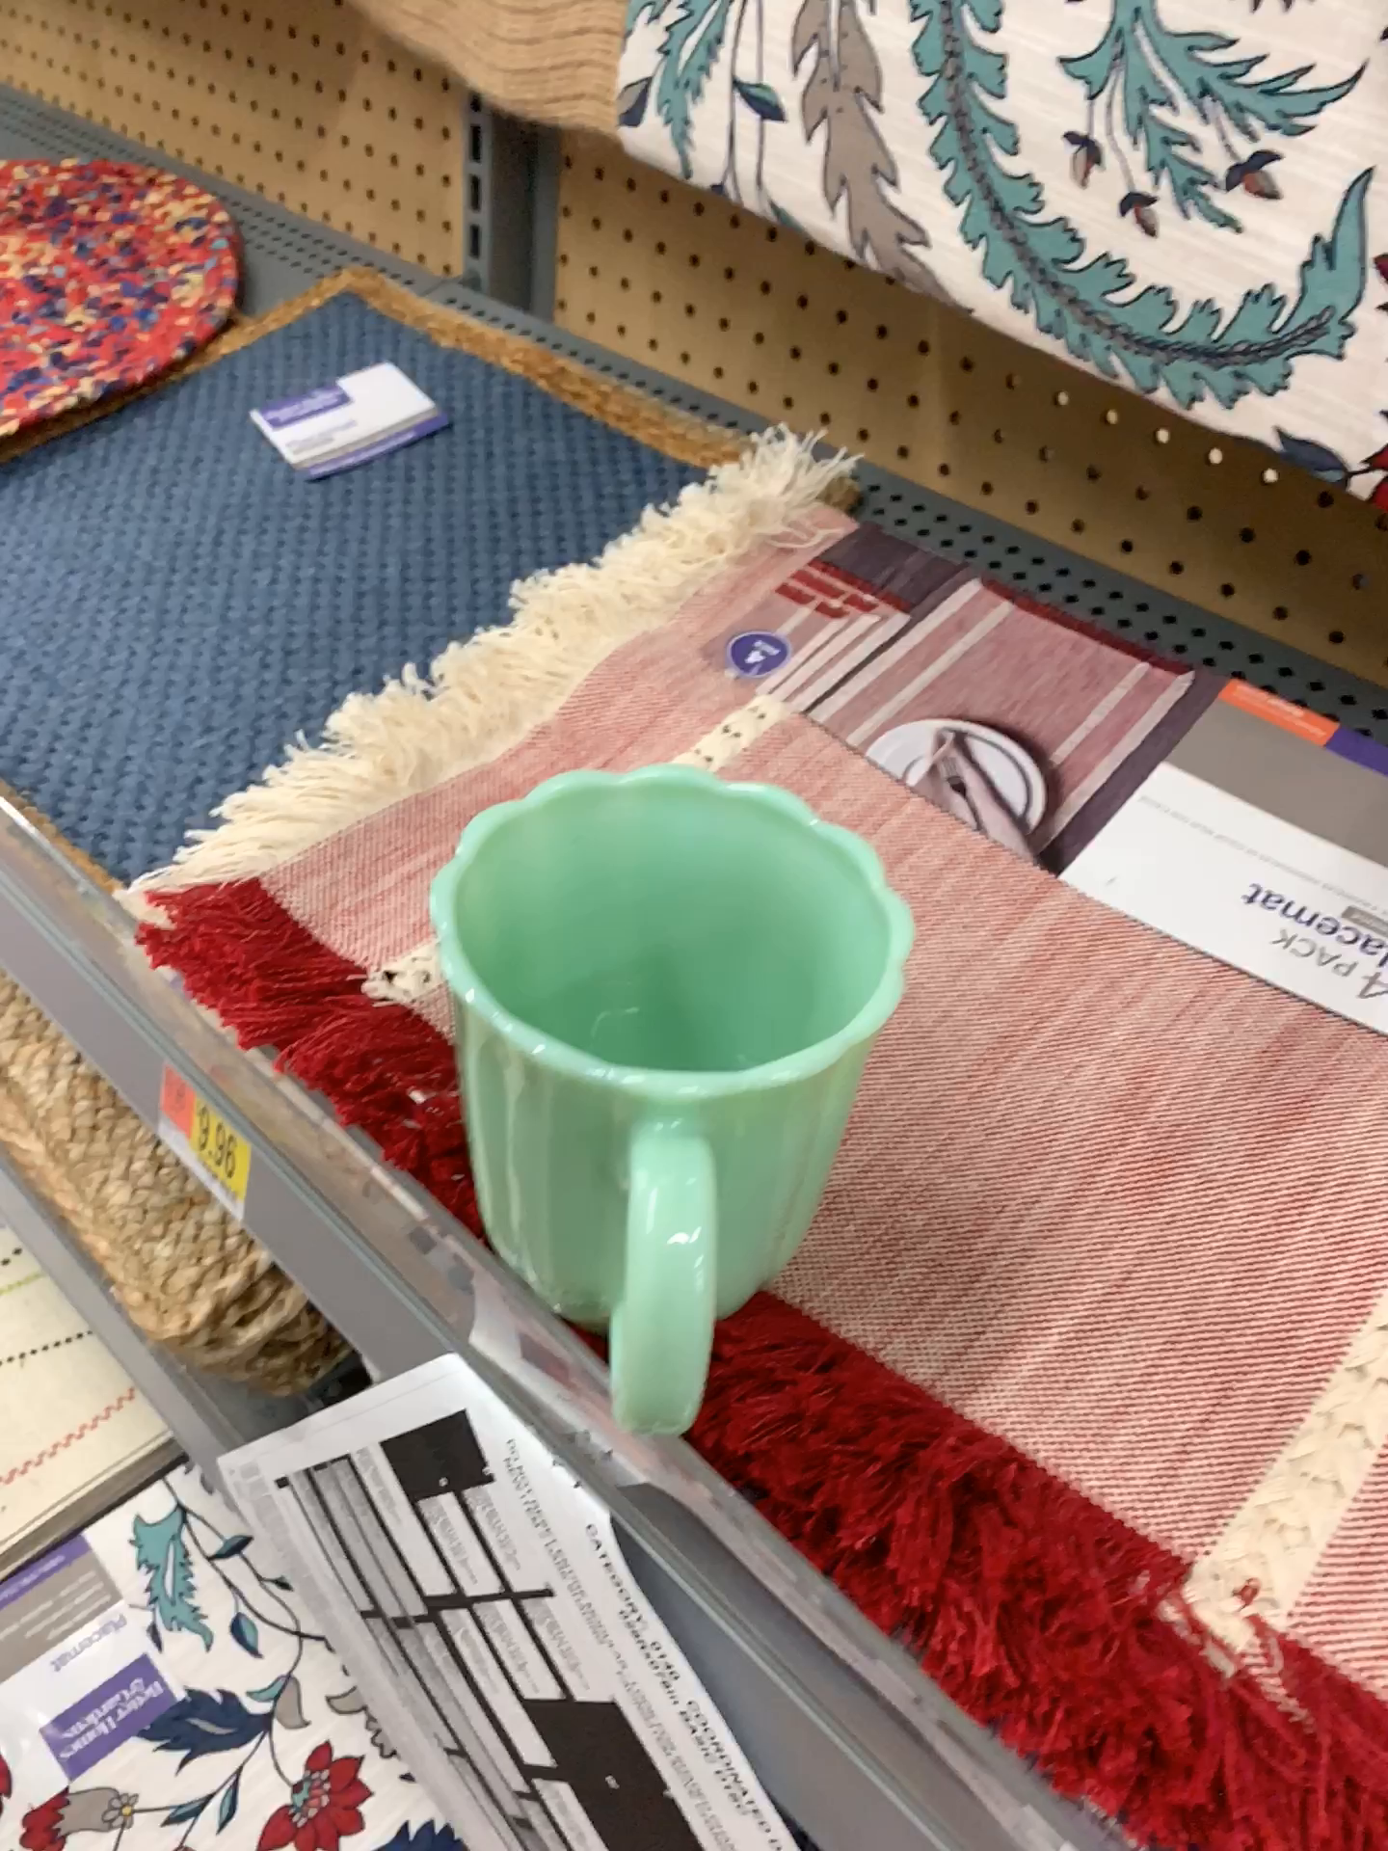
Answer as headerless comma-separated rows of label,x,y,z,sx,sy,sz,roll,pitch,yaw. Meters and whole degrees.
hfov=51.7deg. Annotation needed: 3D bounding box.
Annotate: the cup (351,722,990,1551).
cup,-0.010,0.036,0.279,0.090,0.090,0.131,3,39,-6
